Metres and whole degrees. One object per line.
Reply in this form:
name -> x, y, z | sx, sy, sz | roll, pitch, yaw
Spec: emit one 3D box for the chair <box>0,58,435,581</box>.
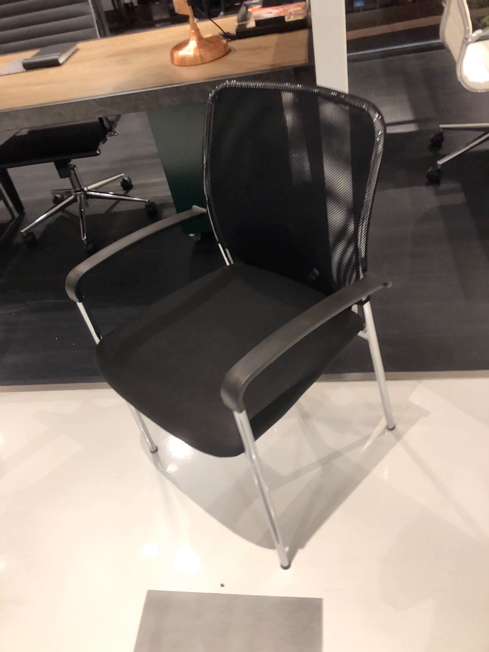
chair -> -0.014, -0.020, 1.177 | 0.592, 0.864, 0.512 | 28, 55, 37
